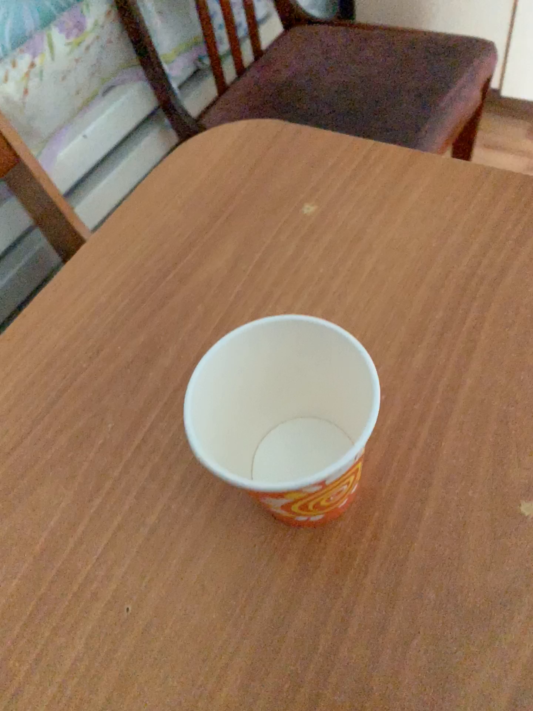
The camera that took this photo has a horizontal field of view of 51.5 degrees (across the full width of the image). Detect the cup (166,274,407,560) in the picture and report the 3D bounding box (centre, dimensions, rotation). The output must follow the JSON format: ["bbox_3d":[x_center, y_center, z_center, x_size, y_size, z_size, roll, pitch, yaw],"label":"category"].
[{"bbox_3d":[0.010,0.033,0.262,0.084,0.088,0.089,-6,57,9],"label":"cup"}]
